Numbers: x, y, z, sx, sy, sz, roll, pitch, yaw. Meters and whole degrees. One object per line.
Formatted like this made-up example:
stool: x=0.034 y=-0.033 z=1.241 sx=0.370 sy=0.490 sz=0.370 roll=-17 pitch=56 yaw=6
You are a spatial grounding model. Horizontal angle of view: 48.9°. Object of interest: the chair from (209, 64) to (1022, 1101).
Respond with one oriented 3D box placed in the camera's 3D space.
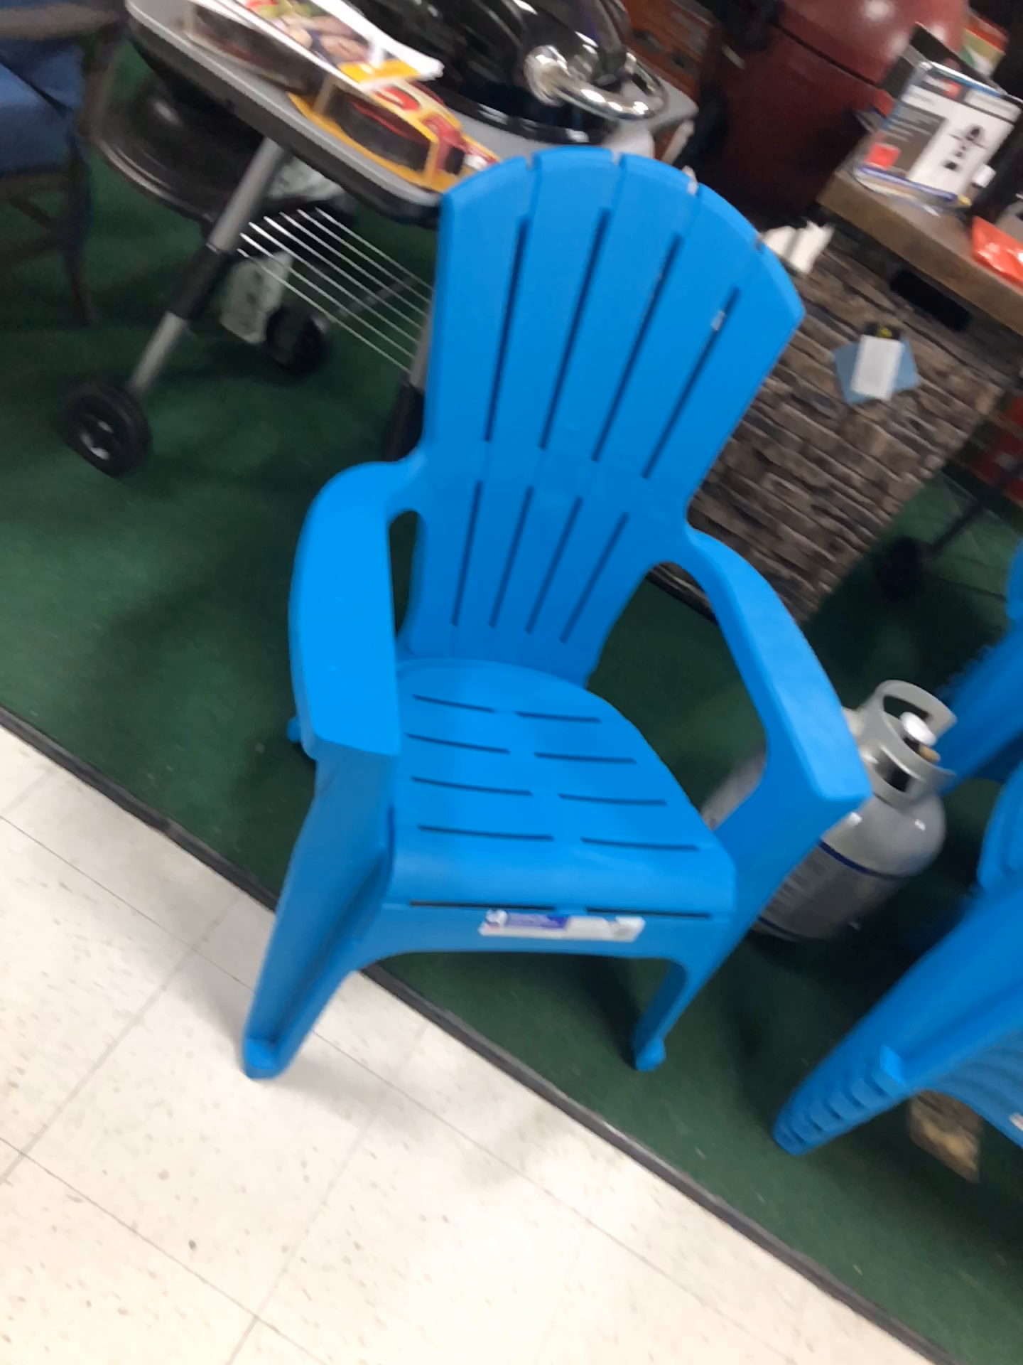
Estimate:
chair: x=0.094 y=-0.015 z=1.347 sx=0.683 sy=0.931 sz=0.648 roll=8 pitch=47 yaw=-25
